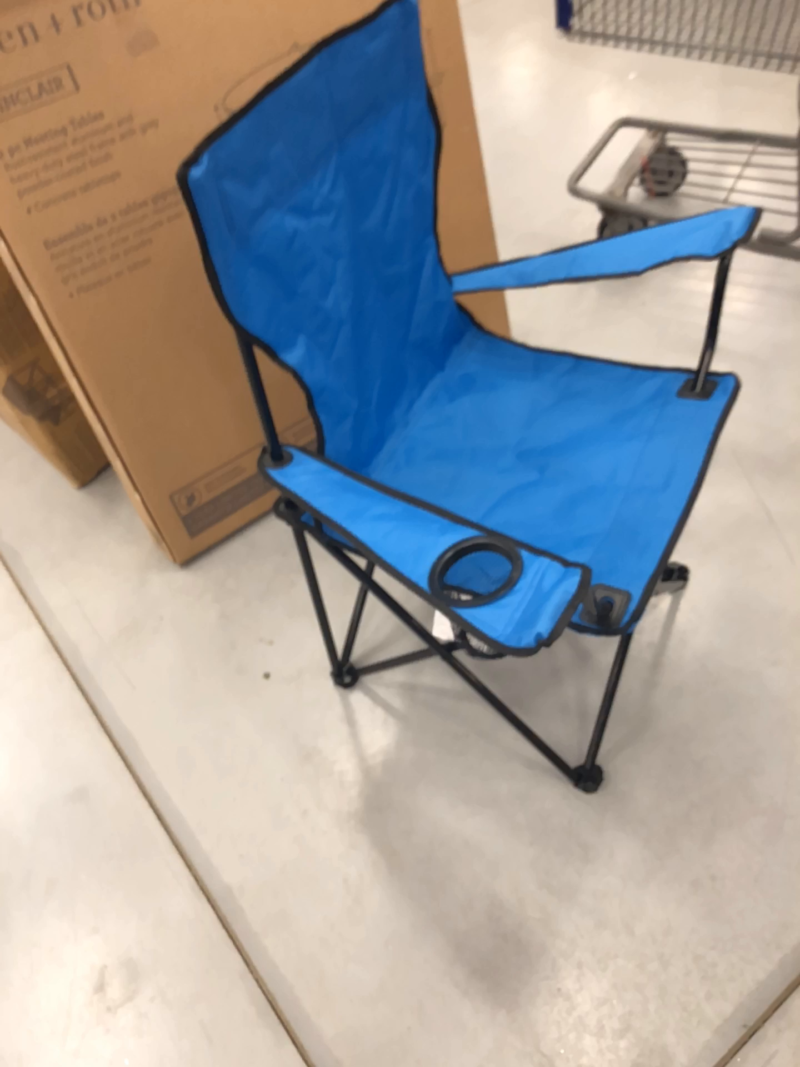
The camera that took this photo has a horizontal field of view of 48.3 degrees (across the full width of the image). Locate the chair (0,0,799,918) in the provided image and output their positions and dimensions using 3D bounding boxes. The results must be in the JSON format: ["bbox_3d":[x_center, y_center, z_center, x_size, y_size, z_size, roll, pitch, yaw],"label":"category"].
[{"bbox_3d":[0.109,-0.139,1.194,0.621,0.837,0.792,18,53,23],"label":"chair"}]
